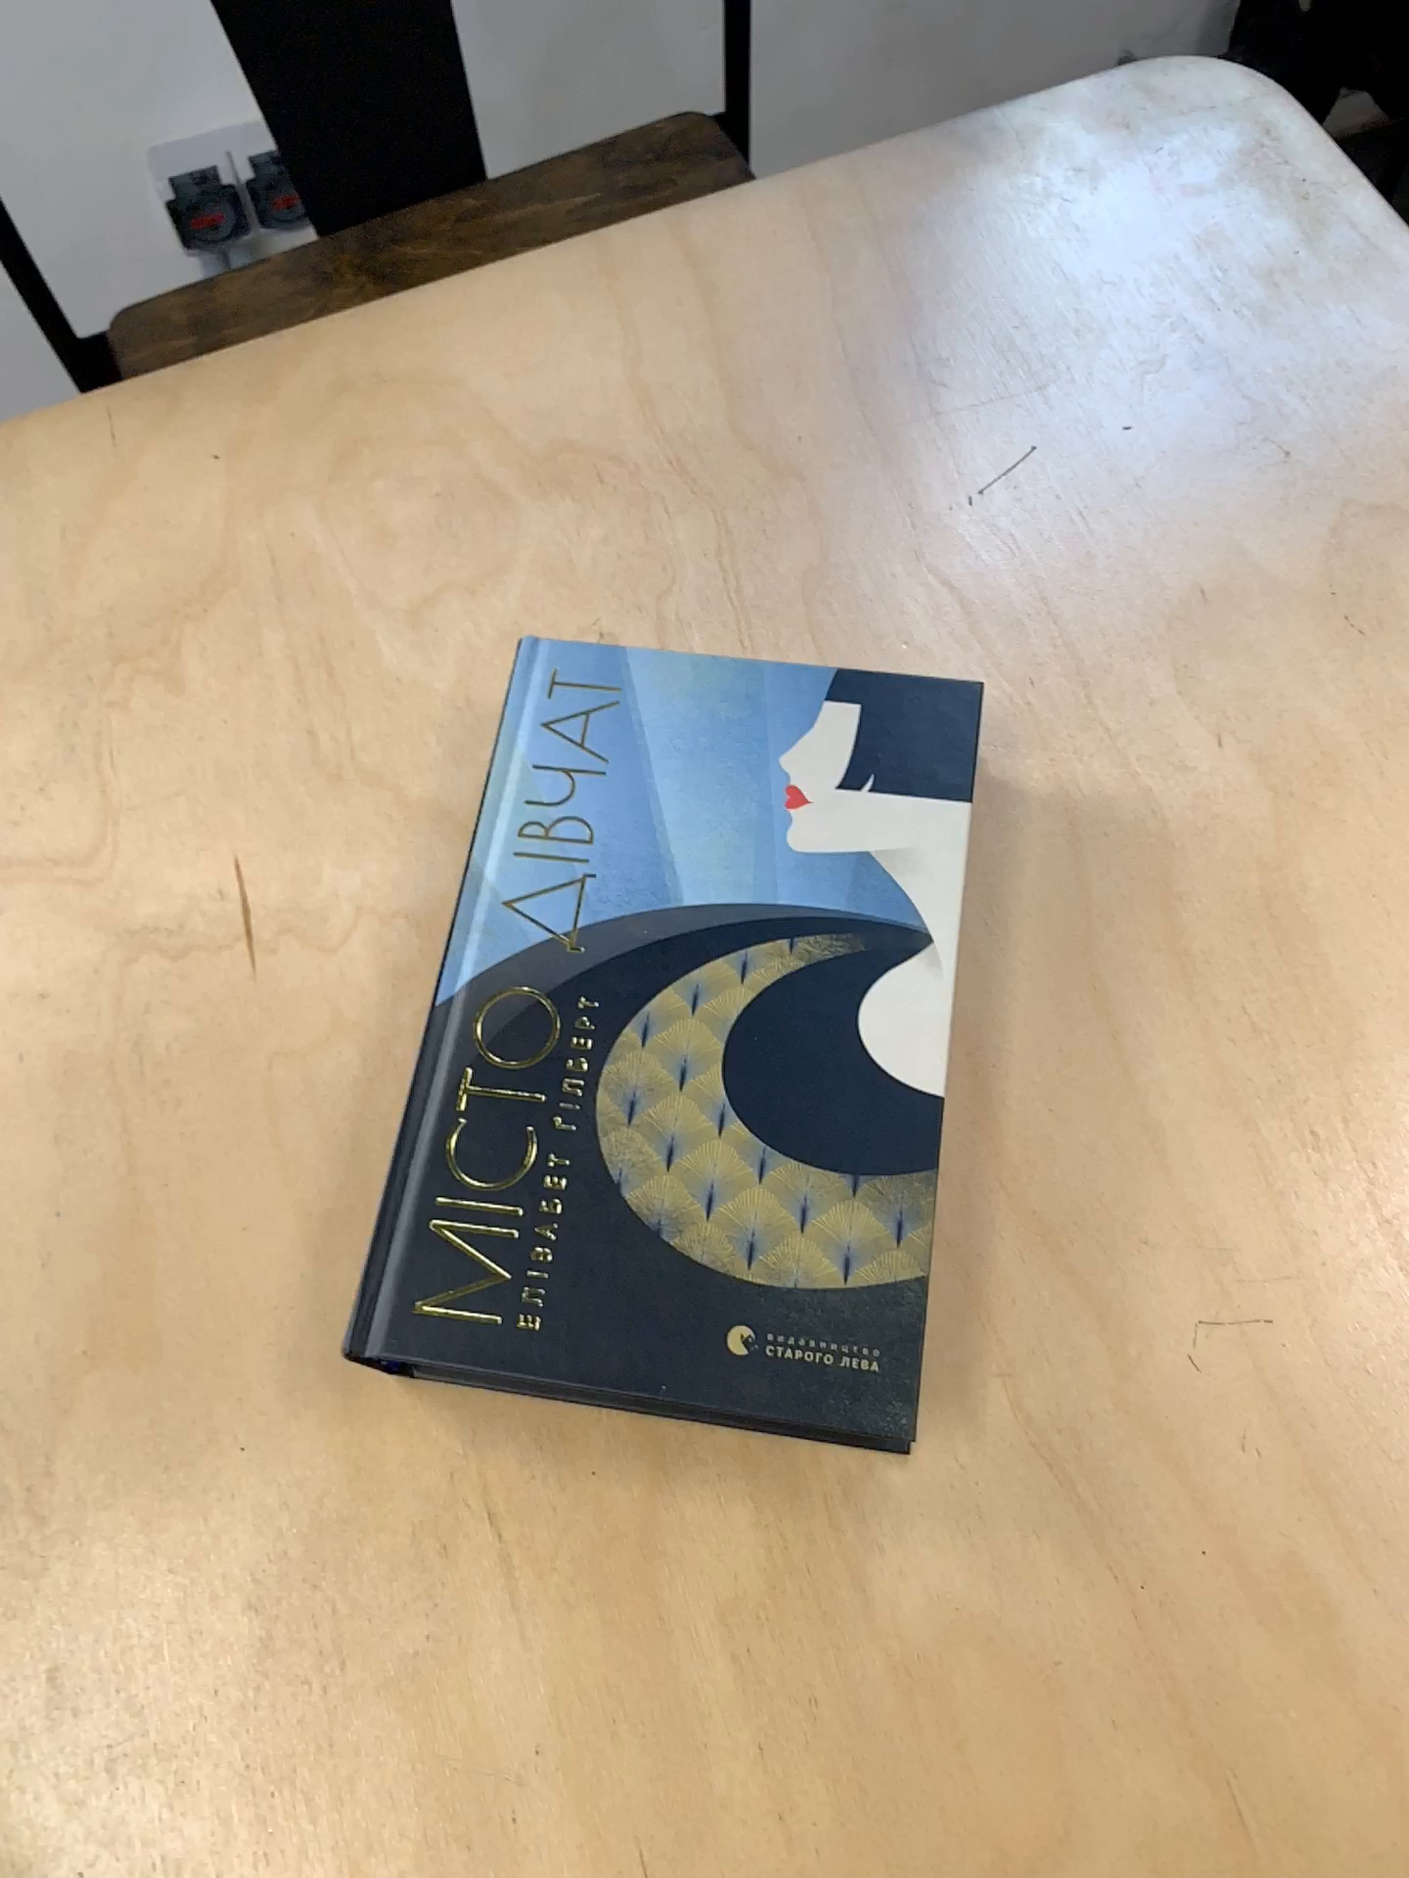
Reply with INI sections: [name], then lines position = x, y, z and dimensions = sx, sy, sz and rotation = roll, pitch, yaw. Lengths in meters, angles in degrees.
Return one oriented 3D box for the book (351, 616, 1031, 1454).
[book]
position = 0.005, 0.018, 0.377
dimensions = 0.134, 0.043, 0.197
rotation = 8, 68, 8
